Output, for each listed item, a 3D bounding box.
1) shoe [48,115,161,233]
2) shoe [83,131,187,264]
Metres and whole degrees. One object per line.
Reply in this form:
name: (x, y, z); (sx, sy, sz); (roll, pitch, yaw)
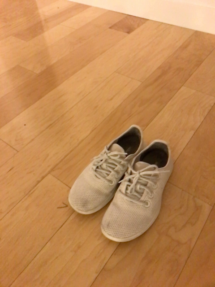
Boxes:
shoe: (0.006, 0.060, 0.588); (0.110, 0.079, 0.291); (30, 57, 26)
shoe: (0.075, 0.107, 0.547); (0.110, 0.079, 0.281); (23, 55, 22)
